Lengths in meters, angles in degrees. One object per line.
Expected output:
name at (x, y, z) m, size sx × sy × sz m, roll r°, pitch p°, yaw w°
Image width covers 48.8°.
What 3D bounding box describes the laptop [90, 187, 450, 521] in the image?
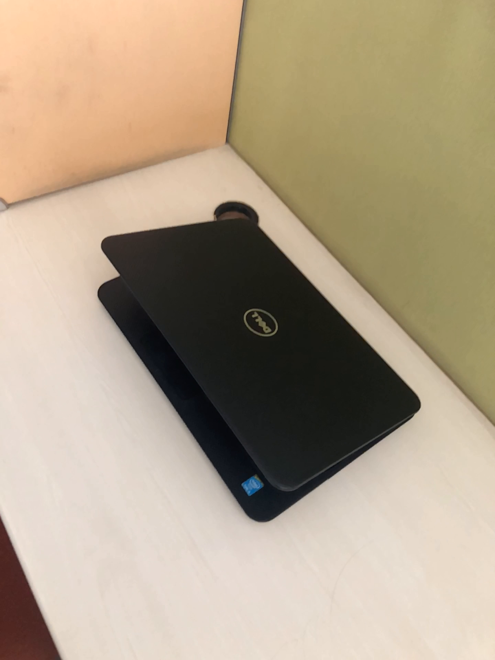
laptop at (0.014, 0.000, 0.653) m, size 0.247 × 0.078 × 0.354 m, roll -27°, pitch 63°, yaw -25°
